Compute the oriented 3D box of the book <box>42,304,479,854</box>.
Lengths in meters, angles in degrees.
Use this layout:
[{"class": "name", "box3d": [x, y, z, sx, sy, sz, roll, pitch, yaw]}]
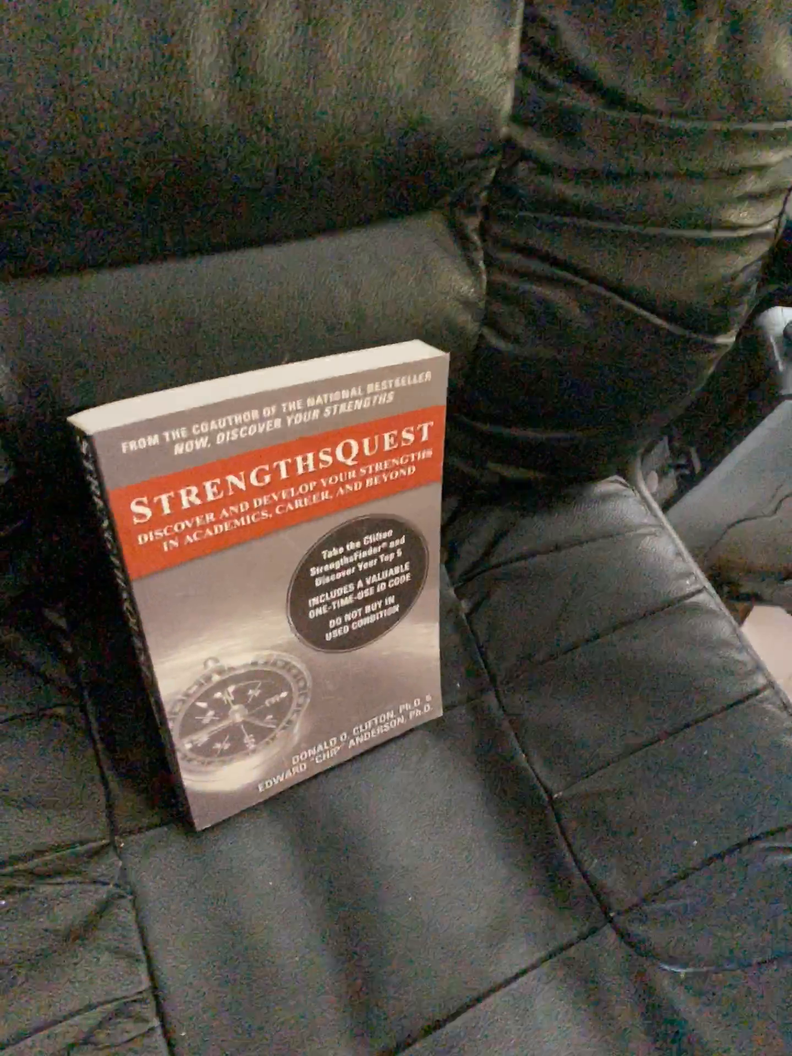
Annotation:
[{"class": "book", "box3d": [-0.042, 0.033, 0.385, 0.170, 0.239, 0.030, -20, 39, -23]}]
